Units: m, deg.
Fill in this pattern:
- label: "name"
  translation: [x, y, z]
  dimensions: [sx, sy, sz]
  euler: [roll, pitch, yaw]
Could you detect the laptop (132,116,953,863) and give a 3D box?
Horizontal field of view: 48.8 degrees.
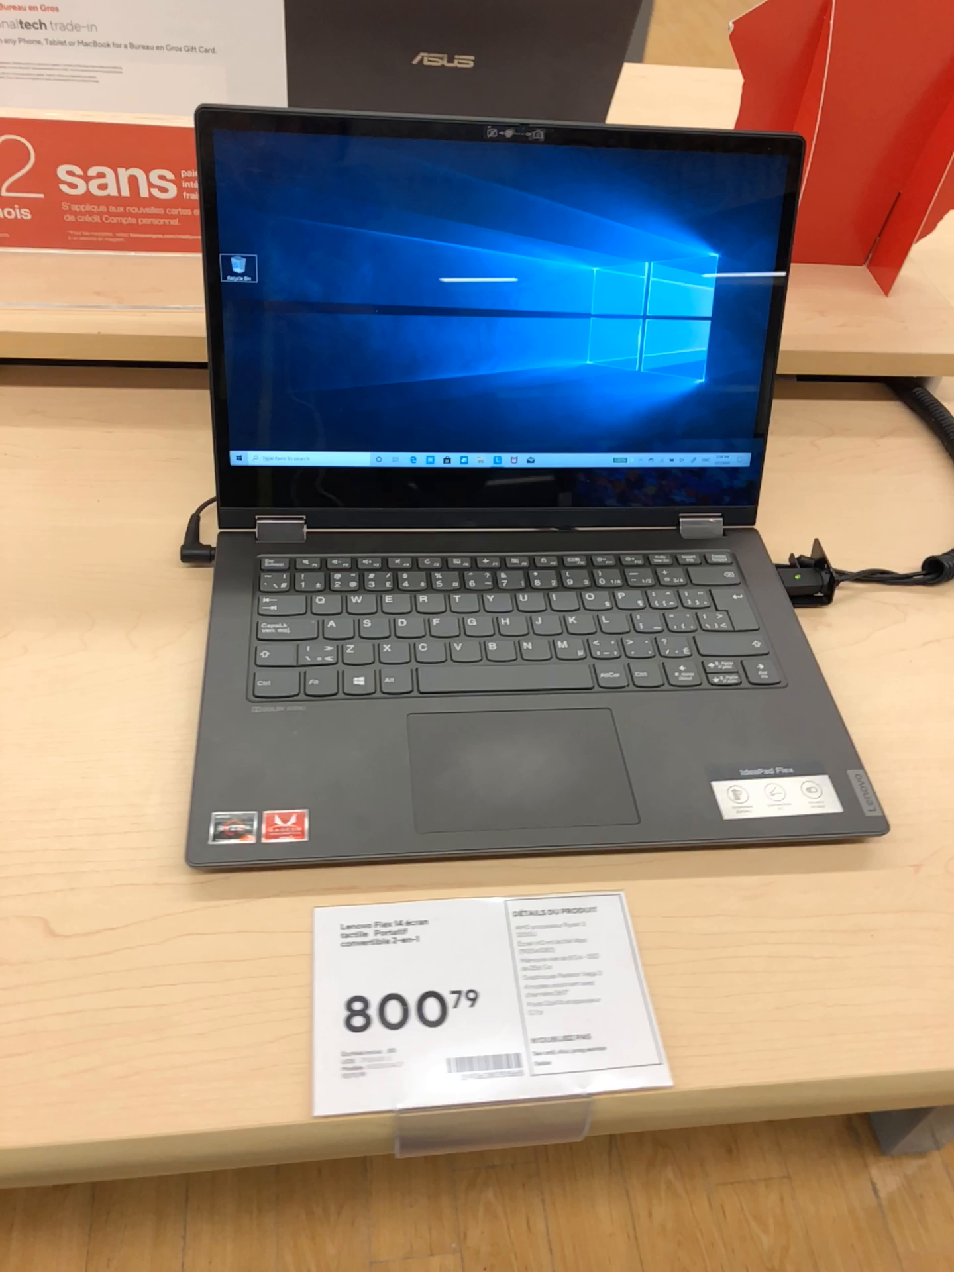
- label: "laptop"
  translation: [0.030, -0.084, 0.511]
  dimensions: [0.319, 0.199, 0.307]
  euler: [-1, 46, -8]
